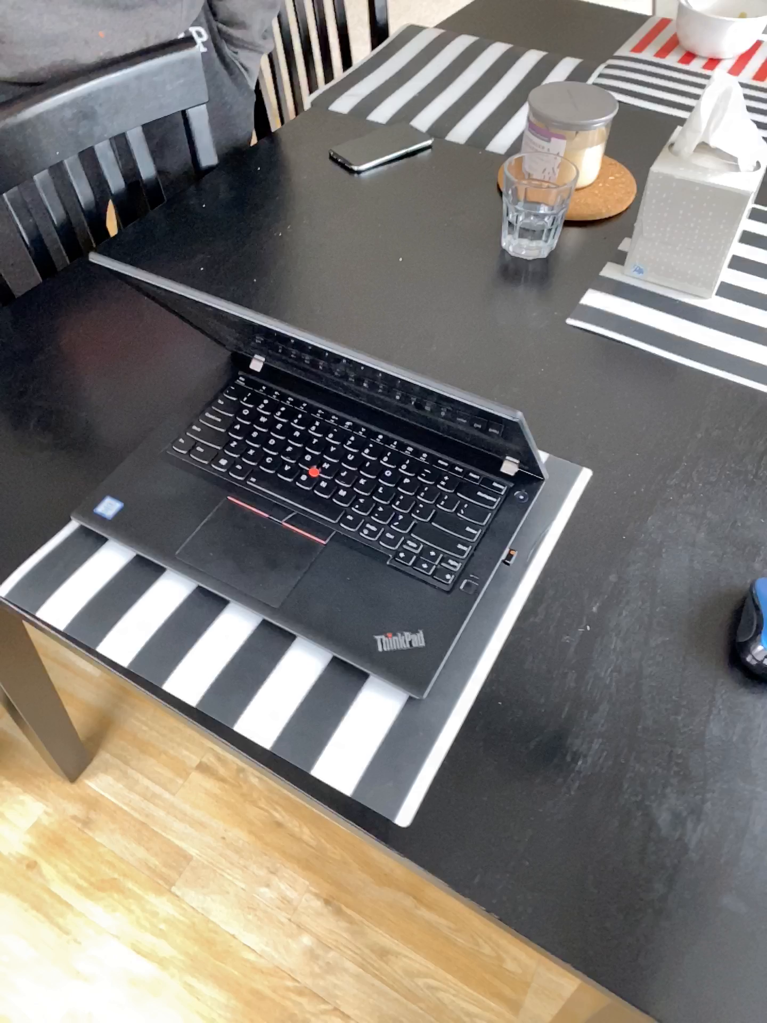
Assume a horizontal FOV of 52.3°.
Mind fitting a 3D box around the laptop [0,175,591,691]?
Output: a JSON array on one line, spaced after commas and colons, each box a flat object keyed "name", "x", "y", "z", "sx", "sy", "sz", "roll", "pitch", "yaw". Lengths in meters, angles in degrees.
[{"name": "laptop", "x": -0.056, "y": -0.072, "z": 0.575, "sx": 0.321, "sy": 0.175, "sz": 0.221, "roll": 24, "pitch": 54, "yaw": 18}]
